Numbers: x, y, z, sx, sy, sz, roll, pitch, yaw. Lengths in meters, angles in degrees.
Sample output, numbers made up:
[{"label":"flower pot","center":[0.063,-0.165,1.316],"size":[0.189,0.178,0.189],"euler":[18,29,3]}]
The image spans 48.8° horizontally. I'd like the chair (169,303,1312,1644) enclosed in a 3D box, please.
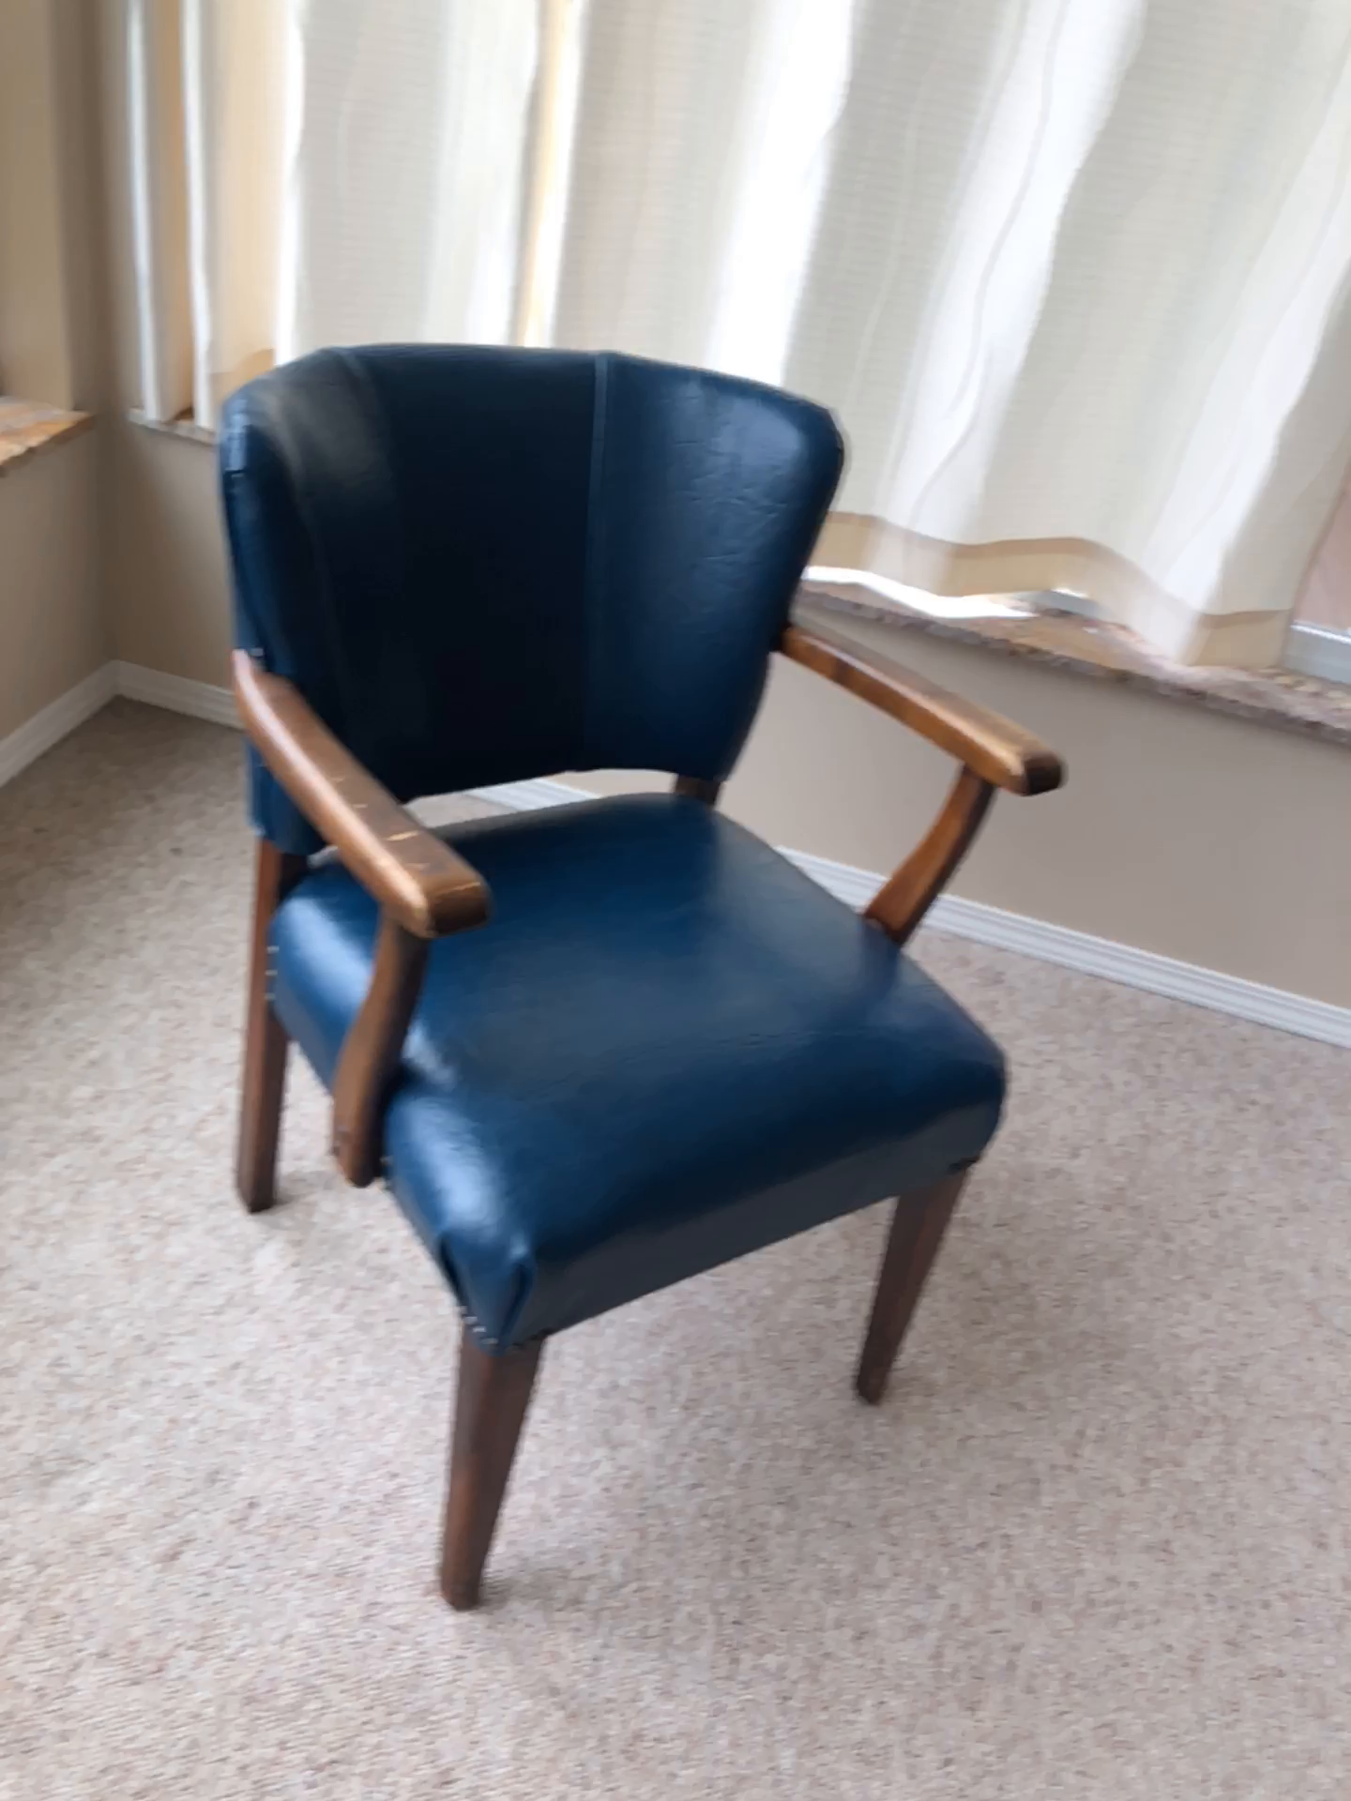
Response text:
[{"label":"chair","center":[-0.041,0.023,1.195],"size":[0.531,0.797,0.561],"euler":[-14,43,-32]}]
